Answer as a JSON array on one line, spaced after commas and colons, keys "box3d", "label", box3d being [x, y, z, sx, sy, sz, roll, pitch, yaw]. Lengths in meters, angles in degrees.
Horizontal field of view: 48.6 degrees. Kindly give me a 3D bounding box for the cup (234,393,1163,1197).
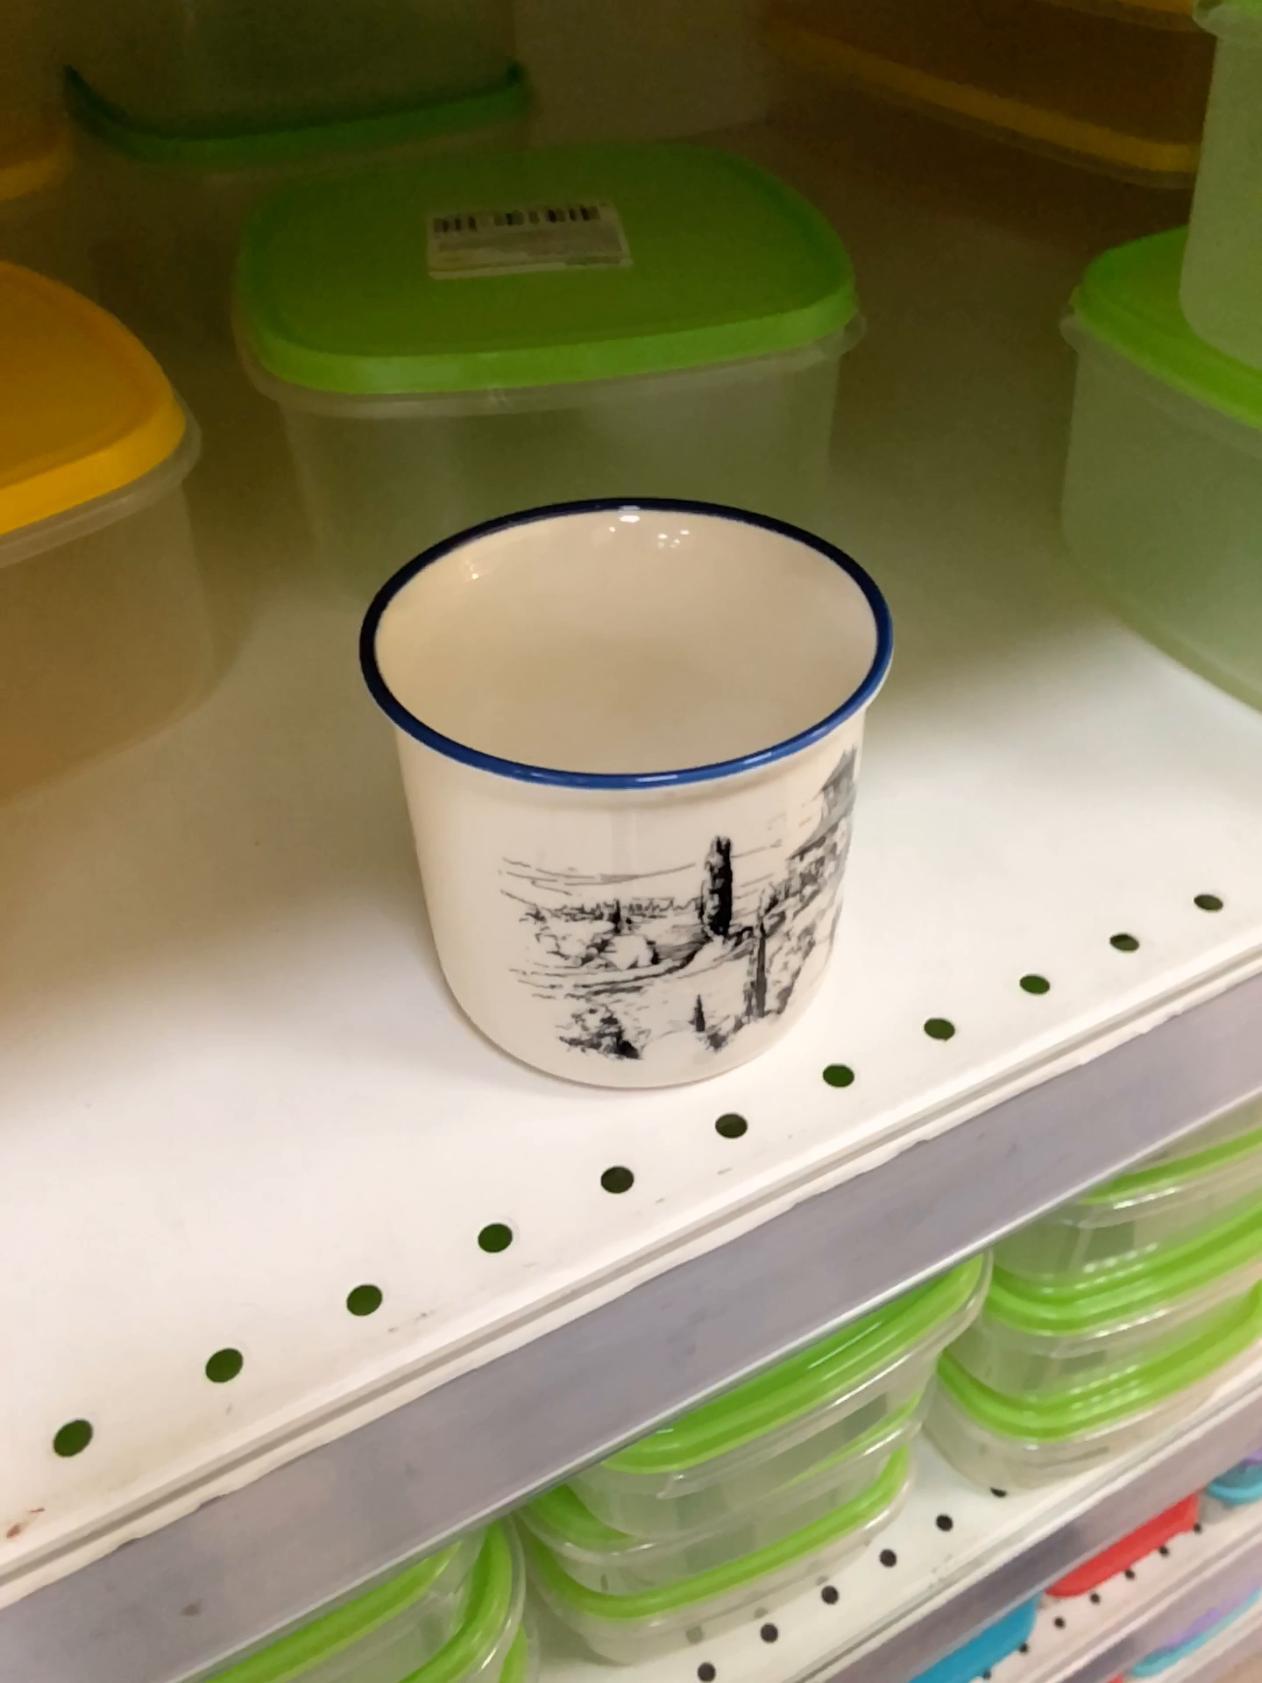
[{"box3d": [0.012, -0.020, 0.272, 0.130, 0.068, 0.103, -28, 48, -26], "label": "cup"}]
